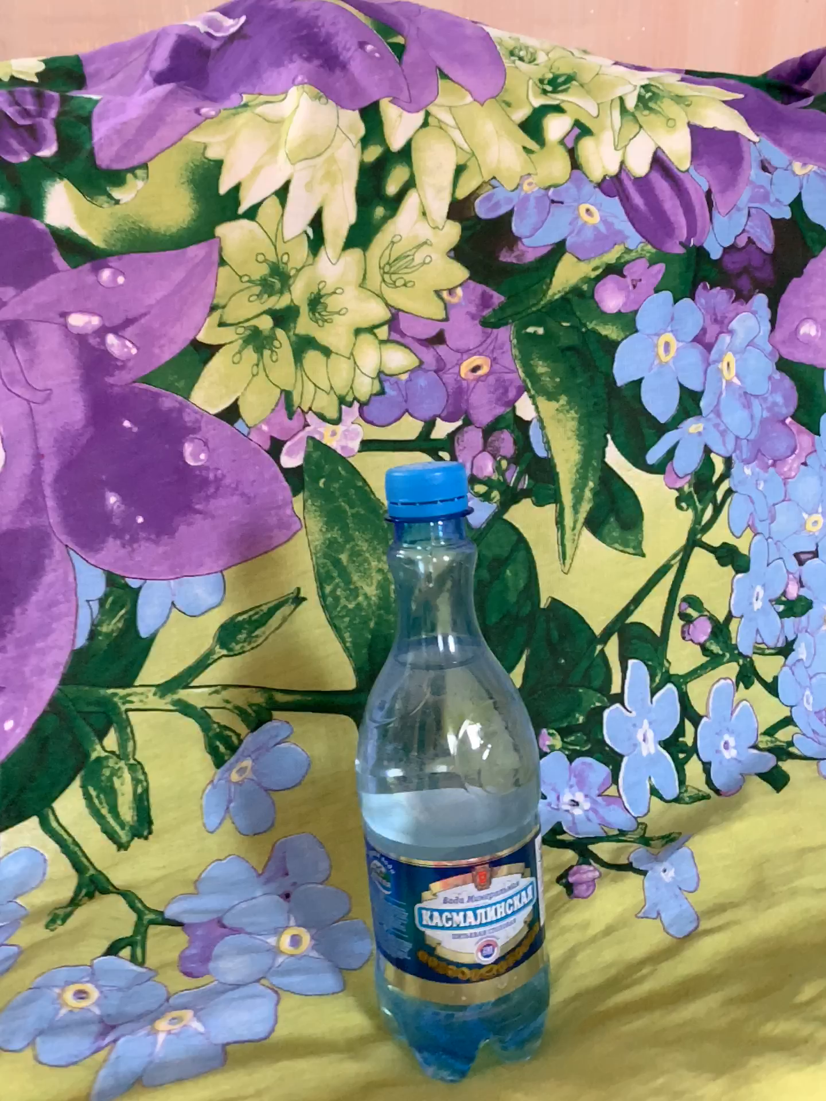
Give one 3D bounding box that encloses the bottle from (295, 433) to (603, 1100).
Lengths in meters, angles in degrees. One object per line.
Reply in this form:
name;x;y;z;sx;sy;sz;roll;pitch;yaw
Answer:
bottle;0.013;0.073;0.314;0.080;0.219;0.070;-8;12;-13
